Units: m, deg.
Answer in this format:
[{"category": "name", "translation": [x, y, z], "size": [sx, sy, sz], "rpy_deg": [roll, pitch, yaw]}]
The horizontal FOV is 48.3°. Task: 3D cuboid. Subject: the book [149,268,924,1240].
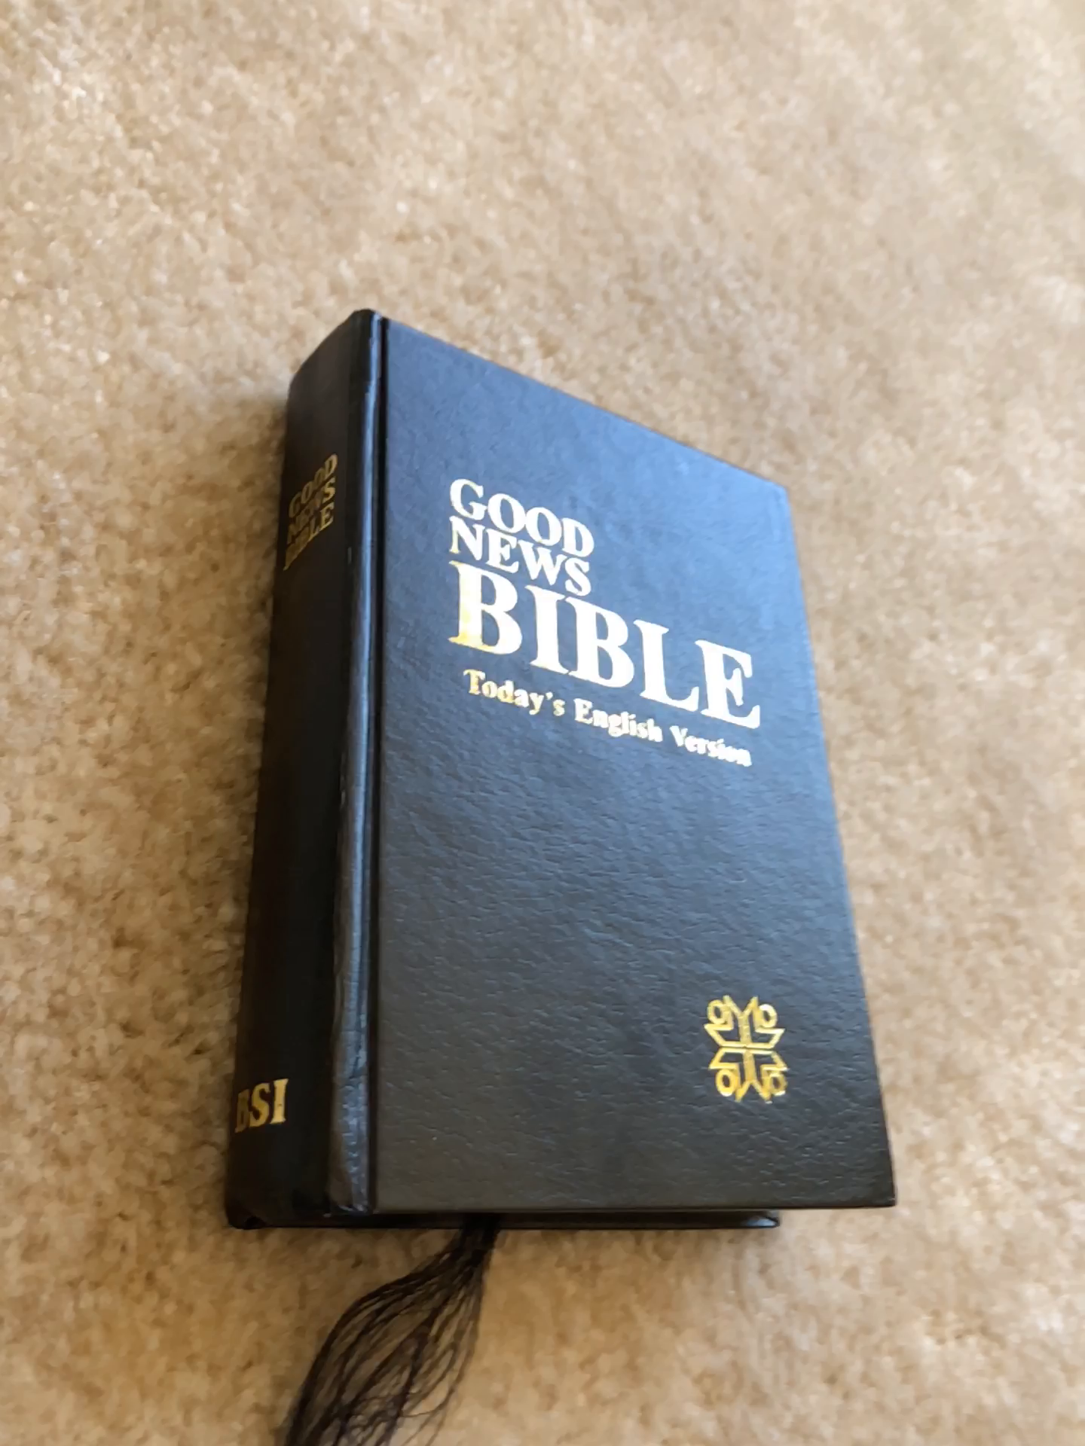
[{"category": "book", "translation": [0.001, 0.010, 0.232], "size": [0.124, 0.040, 0.160], "rpy_deg": [14, 59, -31]}]
